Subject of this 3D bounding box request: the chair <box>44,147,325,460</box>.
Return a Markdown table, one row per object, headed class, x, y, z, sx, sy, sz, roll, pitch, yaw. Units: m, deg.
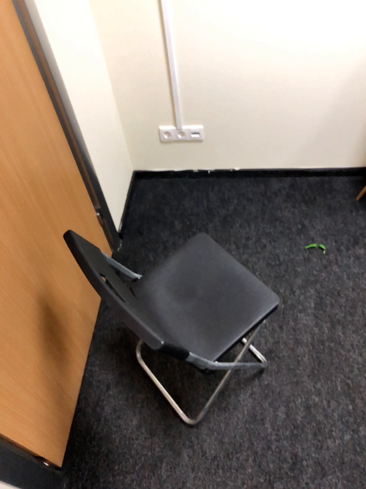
| class | x | y | z | sx | sy | sz | roll | pitch | yaw |
| --- | --- | --- | --- | --- | --- | --- | --- | --- | --- |
| chair | 0.024 | 0.209 | 1.243 | 0.481 | 0.727 | 0.481 | -35 | 55 | -19 |
